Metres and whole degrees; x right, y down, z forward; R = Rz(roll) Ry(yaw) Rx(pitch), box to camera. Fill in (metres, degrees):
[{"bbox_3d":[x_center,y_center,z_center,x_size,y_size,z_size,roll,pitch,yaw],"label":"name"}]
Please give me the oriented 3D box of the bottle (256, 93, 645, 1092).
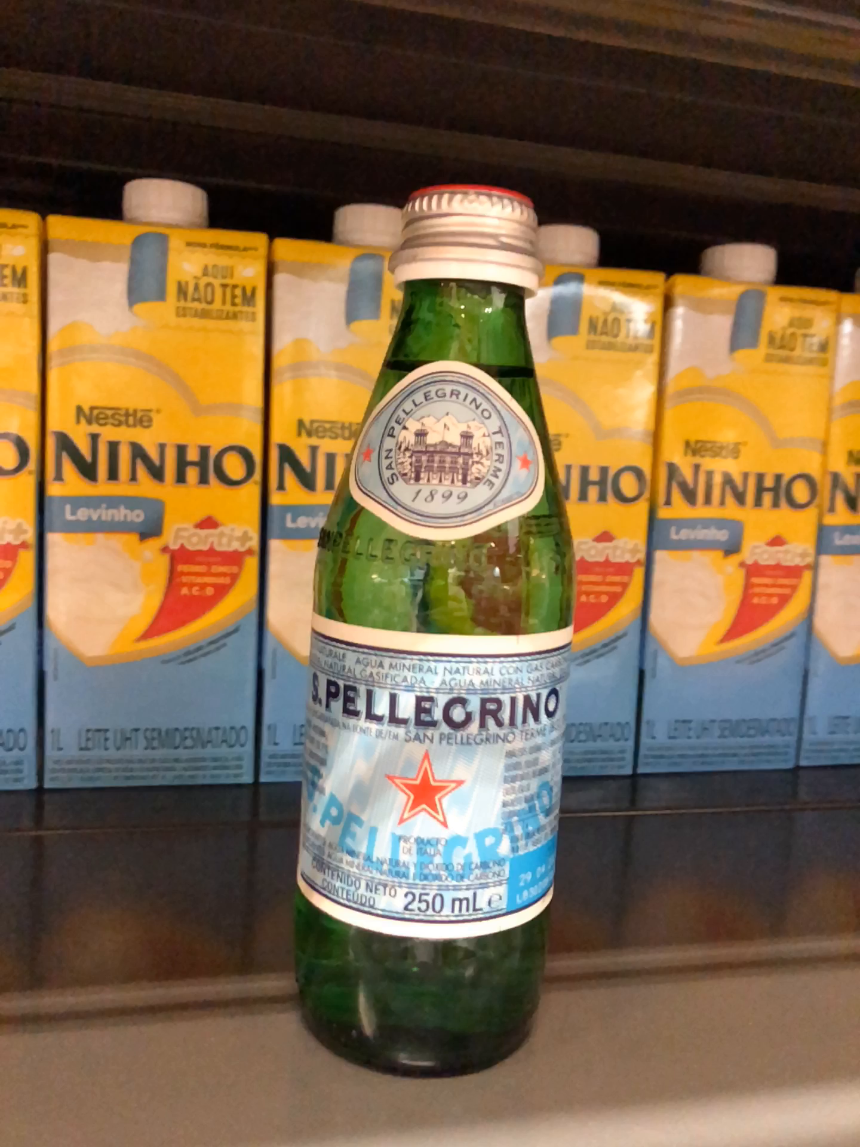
[{"bbox_3d":[0.003,0.004,0.203,0.060,0.179,0.060,3,8,0],"label":"bottle"}]
